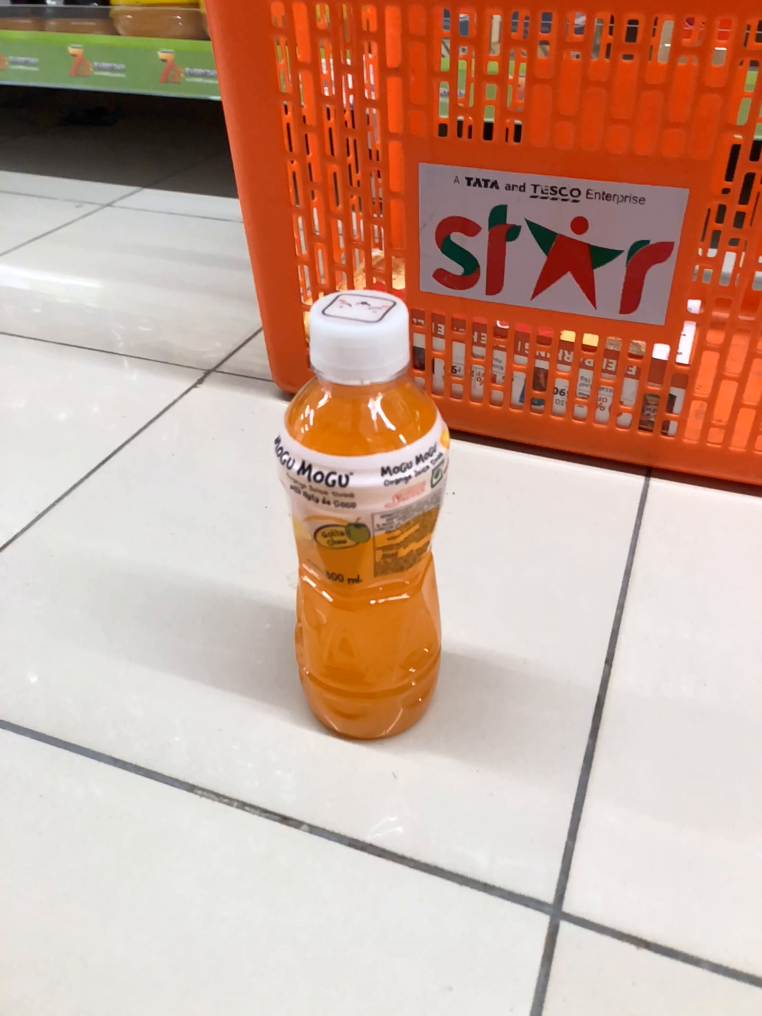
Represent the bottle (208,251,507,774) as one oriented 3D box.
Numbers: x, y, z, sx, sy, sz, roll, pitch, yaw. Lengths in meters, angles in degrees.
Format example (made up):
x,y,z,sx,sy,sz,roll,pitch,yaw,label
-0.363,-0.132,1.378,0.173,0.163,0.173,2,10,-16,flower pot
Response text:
x,y,z,sx,sy,sz,roll,pitch,yaw,label
-0.004,0.005,0.290,0.060,0.159,0.066,-1,36,1,bottle
